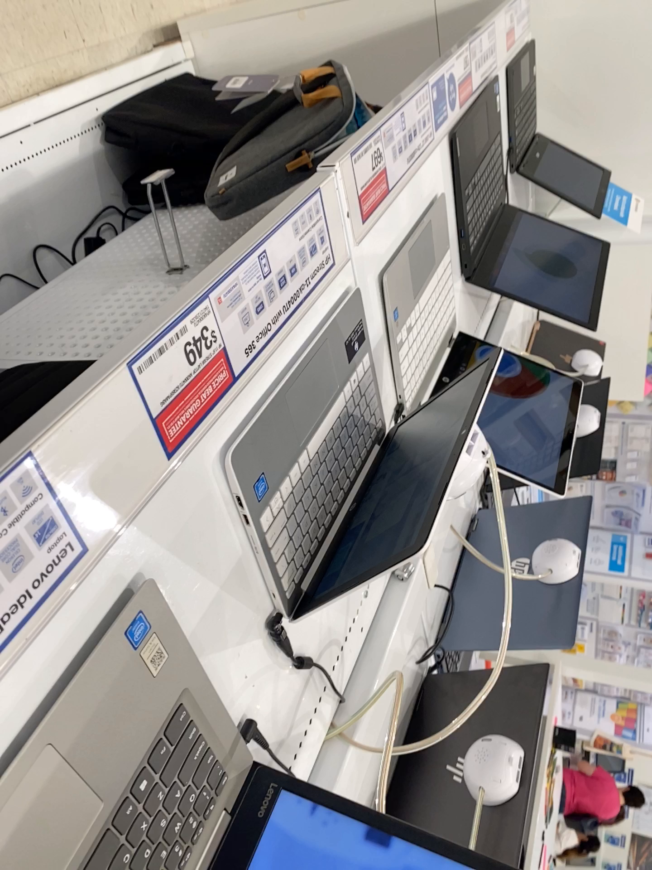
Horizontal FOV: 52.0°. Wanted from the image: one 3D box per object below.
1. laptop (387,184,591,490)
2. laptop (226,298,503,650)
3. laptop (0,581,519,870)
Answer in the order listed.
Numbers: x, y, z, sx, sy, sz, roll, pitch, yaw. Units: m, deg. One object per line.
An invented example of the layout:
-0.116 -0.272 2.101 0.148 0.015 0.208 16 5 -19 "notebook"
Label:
0.230 -0.131 0.885 0.258 0.189 0.298 -59 145 -44 "laptop"
0.061 0.017 0.618 0.277 0.139 0.181 -58 143 -45 "laptop"
-0.043 0.312 0.341 0.327 0.212 0.276 -60 145 -44 "laptop"
